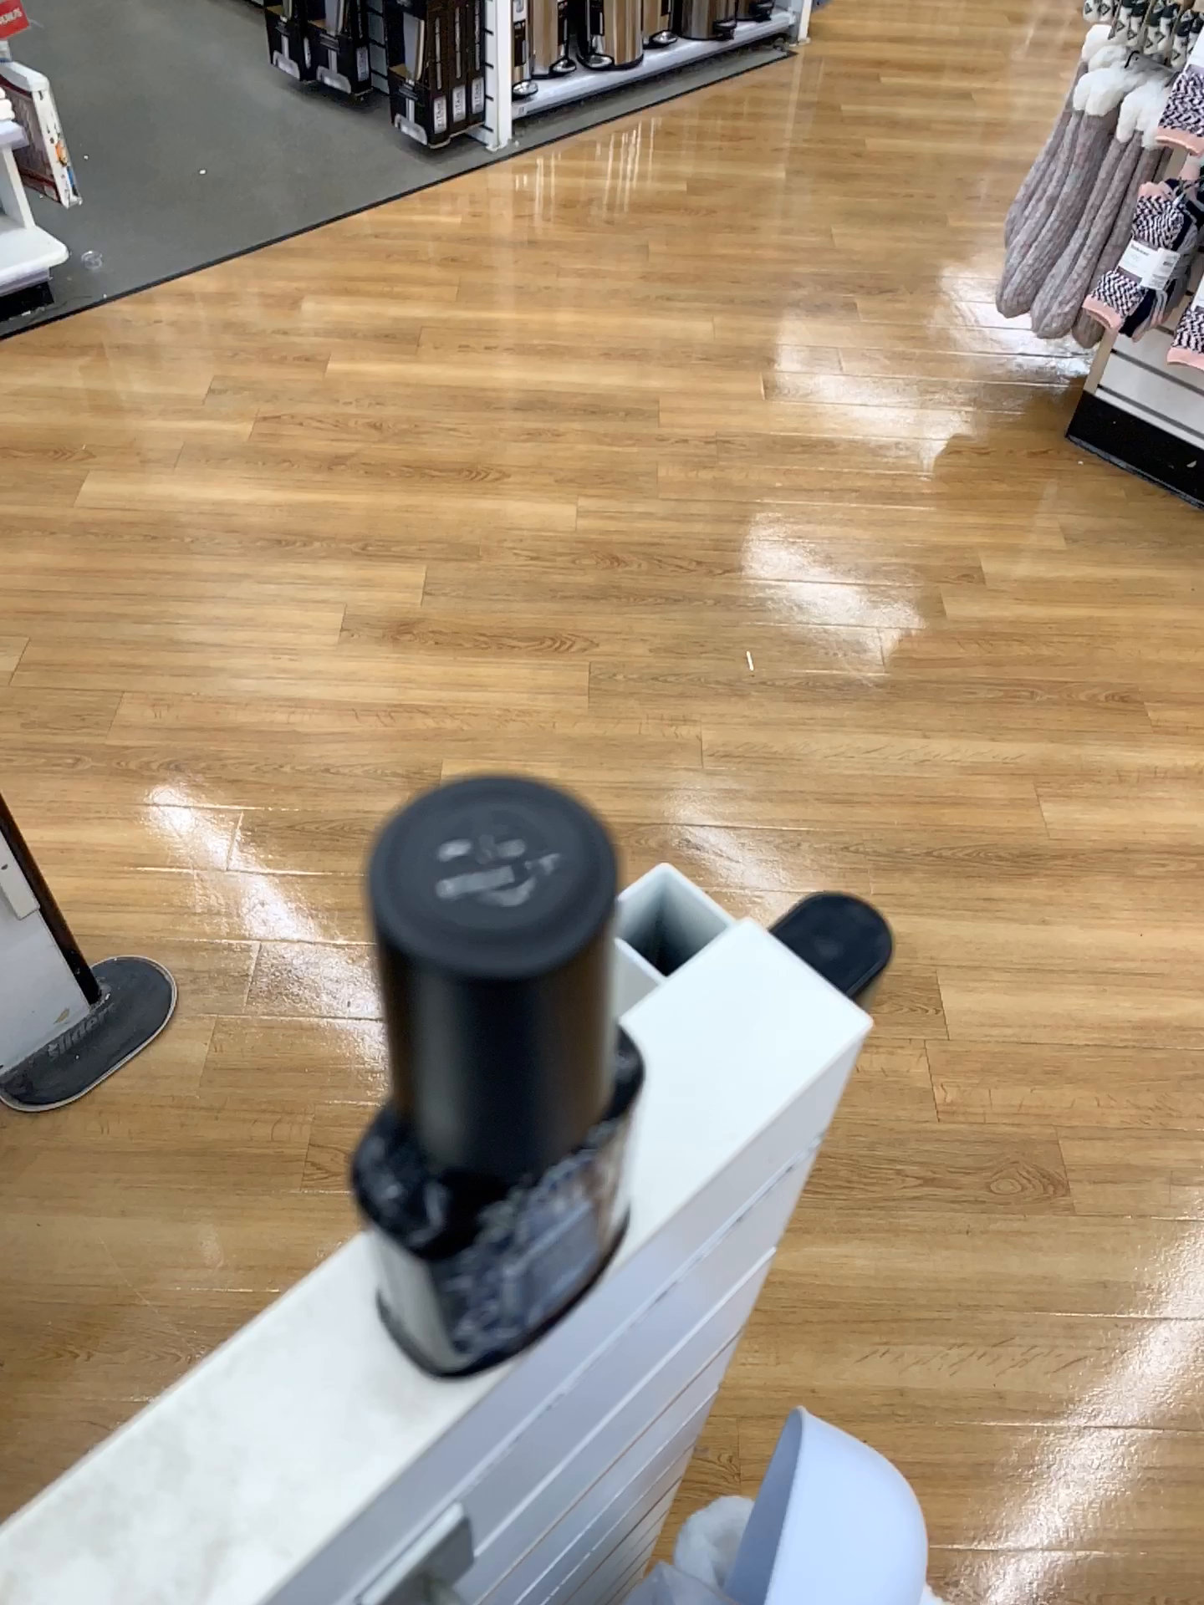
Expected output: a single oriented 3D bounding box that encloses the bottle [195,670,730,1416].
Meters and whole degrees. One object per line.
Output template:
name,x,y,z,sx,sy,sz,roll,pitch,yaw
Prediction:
bottle,-0.017,0.045,0.184,0.050,0.123,0.032,-36,60,-28
